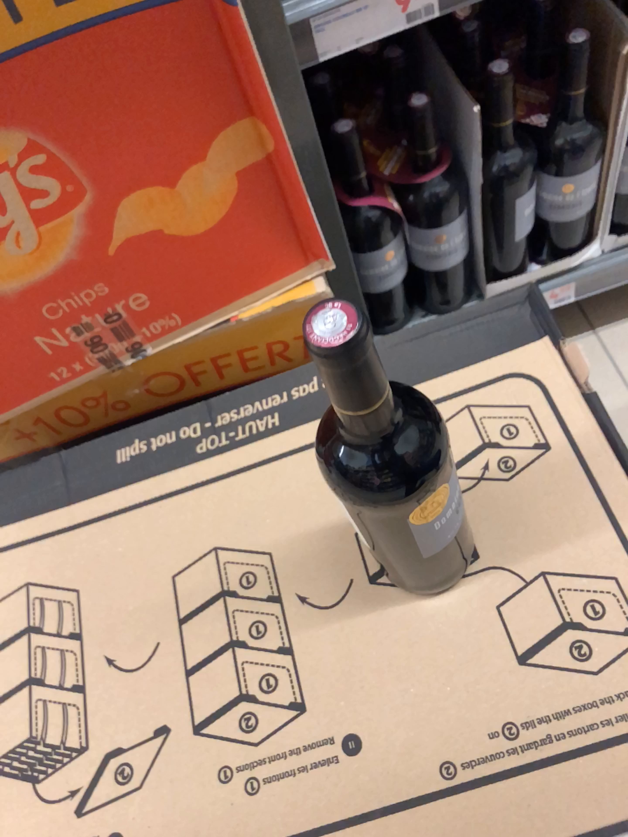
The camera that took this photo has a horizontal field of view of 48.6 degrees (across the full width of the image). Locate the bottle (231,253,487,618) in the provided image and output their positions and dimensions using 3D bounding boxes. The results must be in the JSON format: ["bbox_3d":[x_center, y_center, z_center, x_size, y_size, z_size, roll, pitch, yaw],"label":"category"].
[{"bbox_3d":[0.047,0.038,0.400,0.090,0.279,0.090,-7,61,12],"label":"bottle"}]
